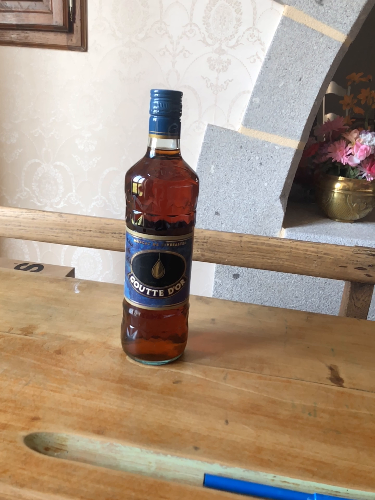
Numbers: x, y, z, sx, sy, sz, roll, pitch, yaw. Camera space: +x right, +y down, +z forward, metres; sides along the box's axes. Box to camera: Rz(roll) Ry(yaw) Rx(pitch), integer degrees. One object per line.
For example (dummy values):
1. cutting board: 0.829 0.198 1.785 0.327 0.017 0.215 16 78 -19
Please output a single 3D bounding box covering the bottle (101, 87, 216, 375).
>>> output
1. bottle: -0.032 -0.021 0.443 0.090 0.279 0.101 7 19 7
